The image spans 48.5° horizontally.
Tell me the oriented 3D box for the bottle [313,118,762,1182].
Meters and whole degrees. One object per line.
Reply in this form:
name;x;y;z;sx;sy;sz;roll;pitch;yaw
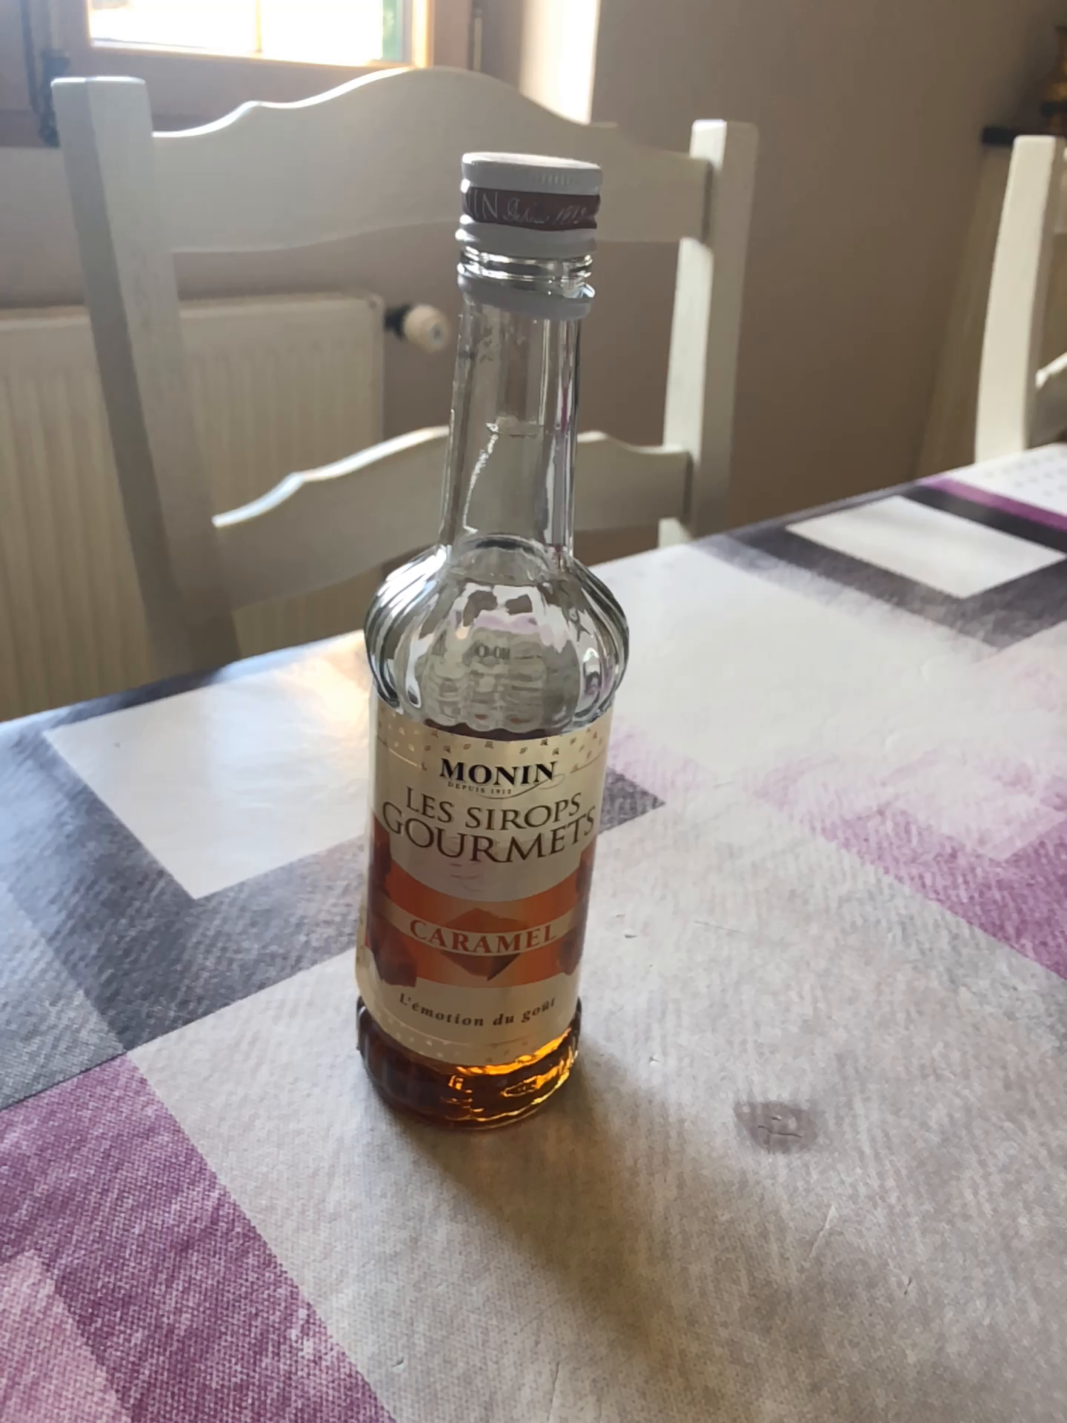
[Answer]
bottle;-0.011;-0.005;0.285;0.070;0.239;0.070;4;28;-2
